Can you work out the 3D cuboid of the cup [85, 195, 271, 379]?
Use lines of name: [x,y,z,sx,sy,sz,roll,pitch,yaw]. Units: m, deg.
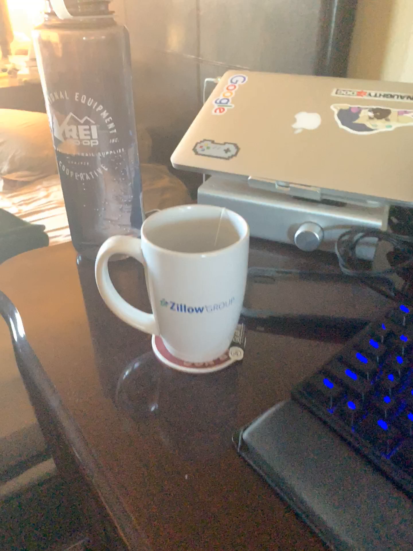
cup: [-0.028,0.004,0.361,0.130,0.099,0.101,-8,35,-11]
